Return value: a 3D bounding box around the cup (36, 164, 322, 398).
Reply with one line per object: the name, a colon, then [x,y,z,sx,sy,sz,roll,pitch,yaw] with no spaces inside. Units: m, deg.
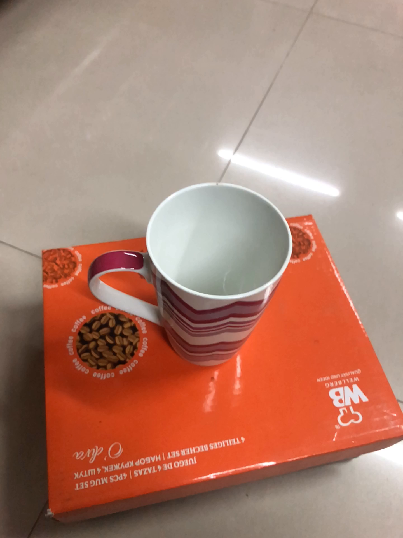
cup: [-0.016,0.011,0.275,0.130,0.110,0.090,-4,58,-6]
